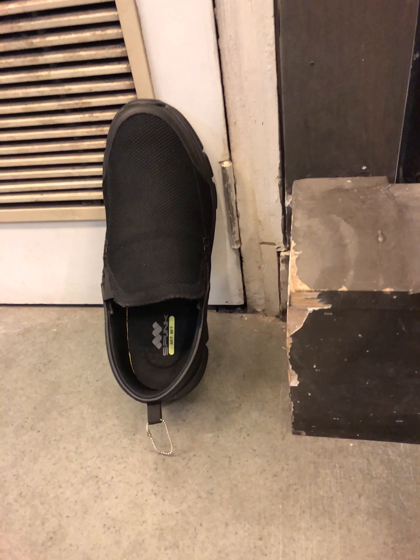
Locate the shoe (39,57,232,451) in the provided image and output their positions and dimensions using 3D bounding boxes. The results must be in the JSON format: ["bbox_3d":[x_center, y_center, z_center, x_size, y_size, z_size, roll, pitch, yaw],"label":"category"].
[{"bbox_3d":[-0.051,-0.018,0.412,0.111,0.291,0.127,-3,8,9],"label":"shoe"}]
